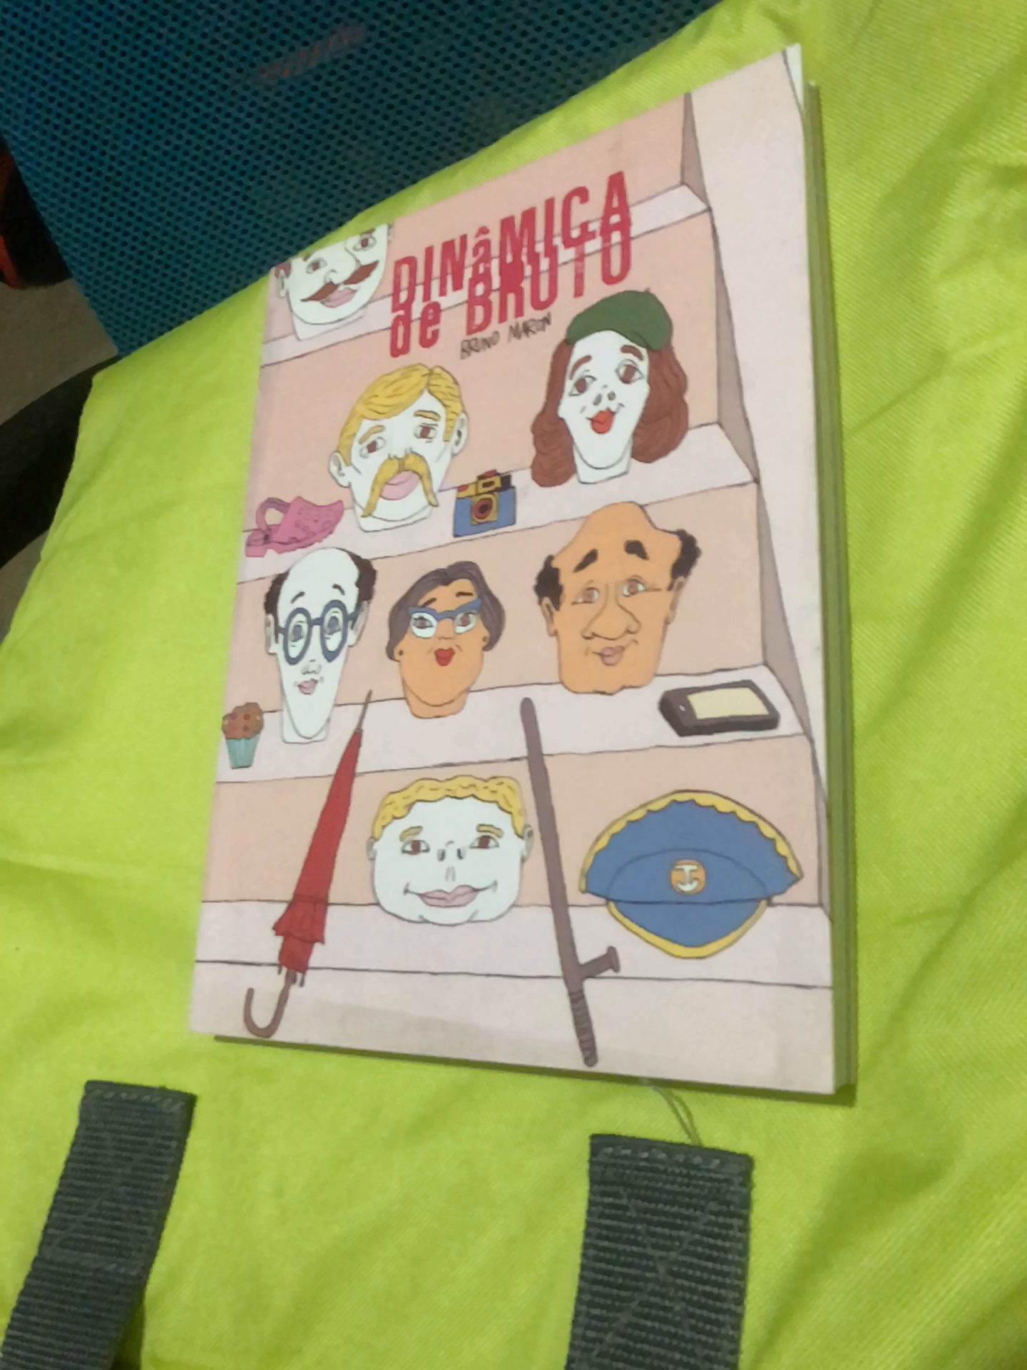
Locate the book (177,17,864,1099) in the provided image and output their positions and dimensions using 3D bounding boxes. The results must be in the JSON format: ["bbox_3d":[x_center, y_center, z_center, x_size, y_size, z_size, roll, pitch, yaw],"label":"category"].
[{"bbox_3d":[-0.006,-0.029,0.294,0.179,0.020,0.240,-8,71,34],"label":"book"}]
